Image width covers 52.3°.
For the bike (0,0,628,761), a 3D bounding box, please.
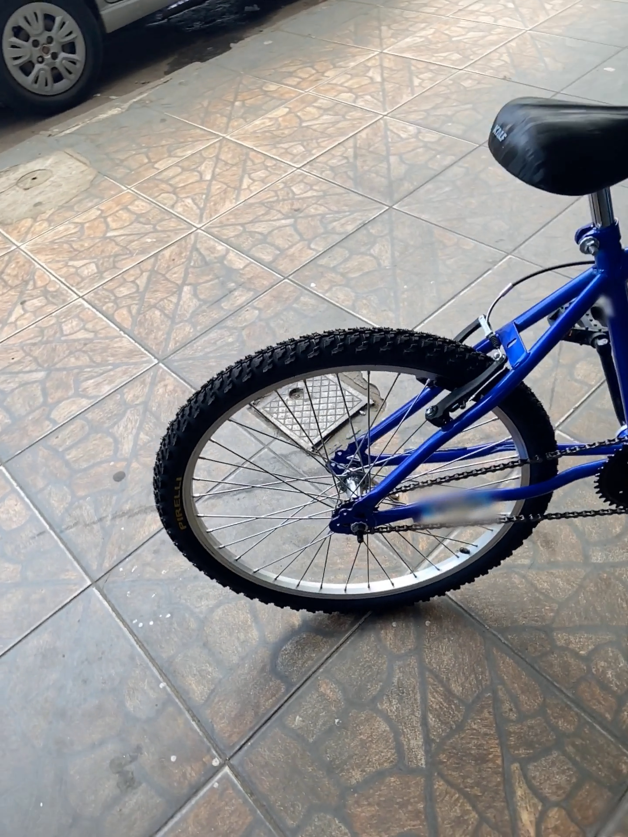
[{"bbox_3d":[0.470,-0.067,0.737,1.486,0.924,0.626,-7,50,8],"label":"bike"}]
